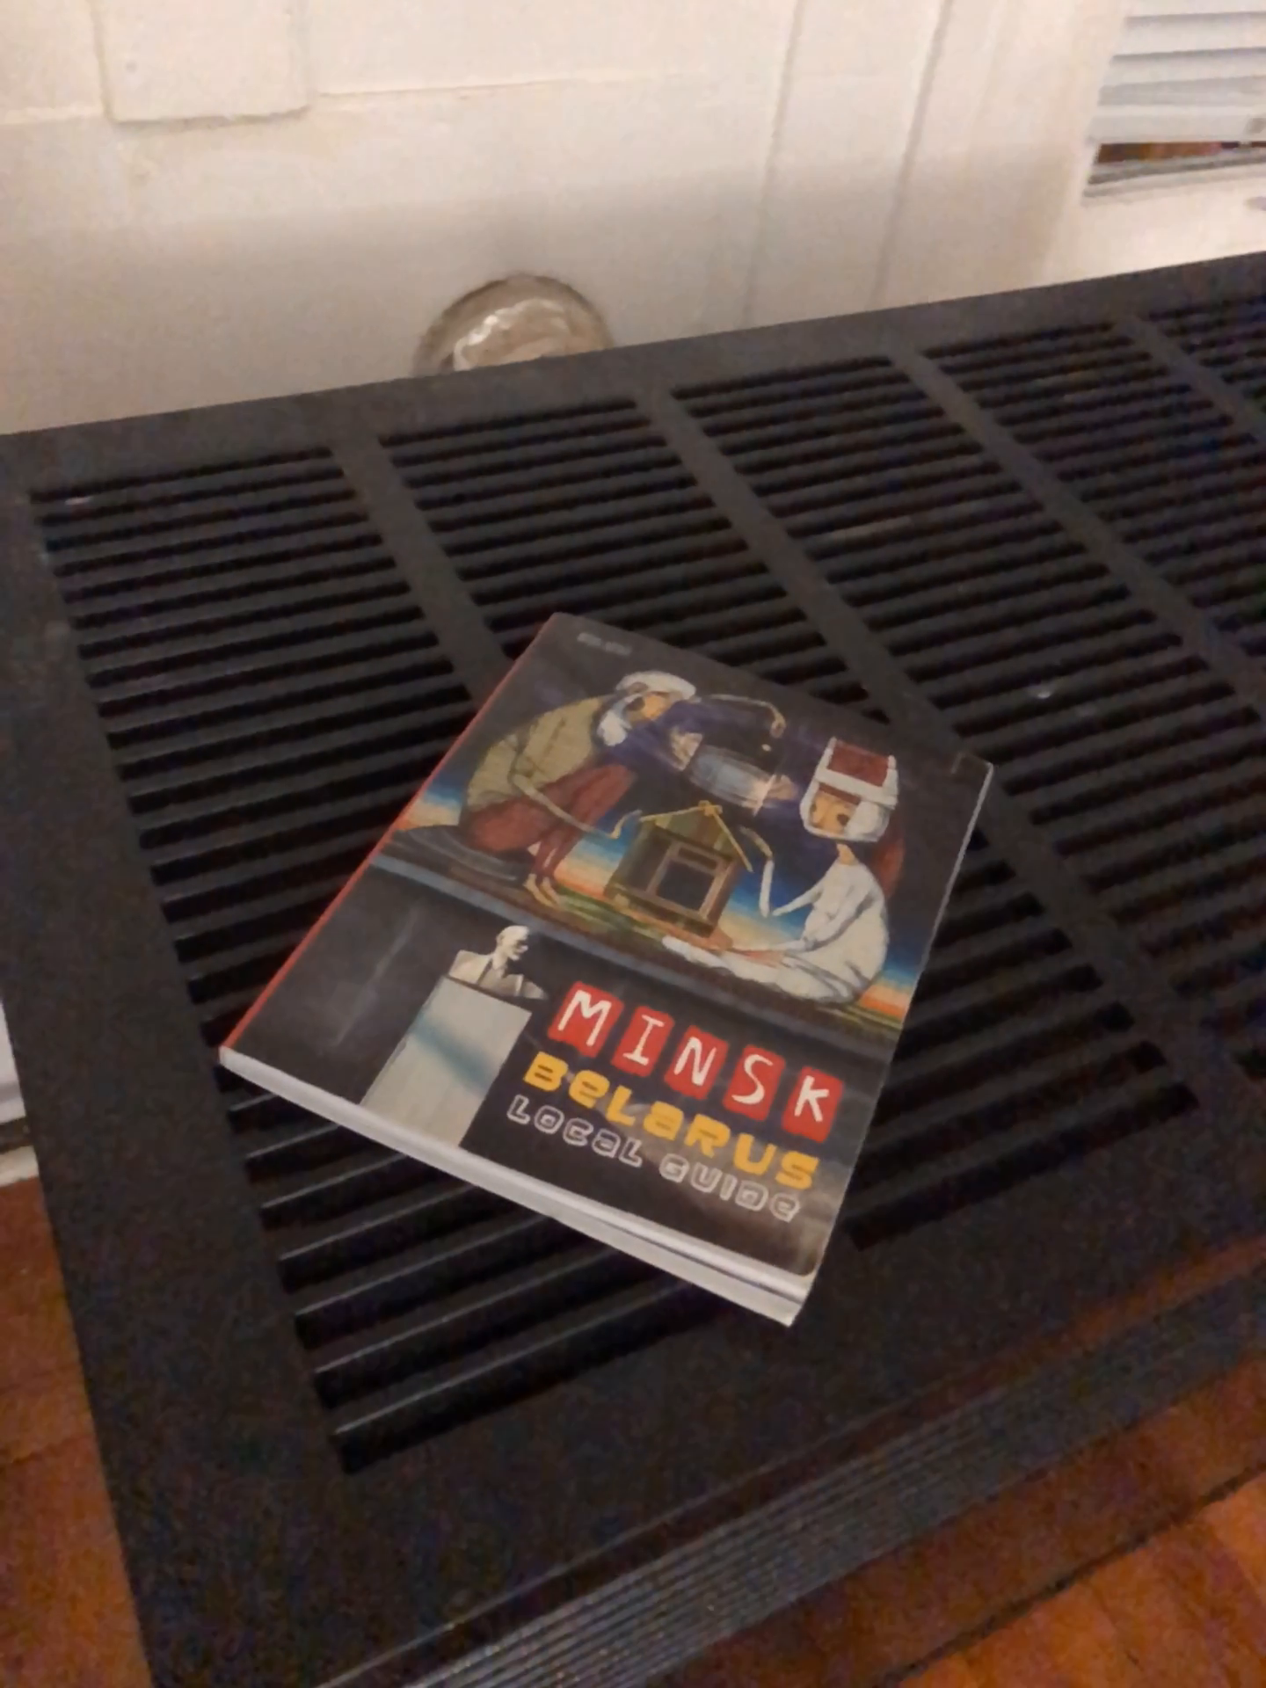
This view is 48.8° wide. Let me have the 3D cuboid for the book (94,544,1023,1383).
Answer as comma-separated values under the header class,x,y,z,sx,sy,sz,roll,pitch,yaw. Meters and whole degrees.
class,x,y,z,sx,sy,sz,roll,pitch,yaw
book,-0.003,0.008,0.354,0.160,0.020,0.201,21,48,12
